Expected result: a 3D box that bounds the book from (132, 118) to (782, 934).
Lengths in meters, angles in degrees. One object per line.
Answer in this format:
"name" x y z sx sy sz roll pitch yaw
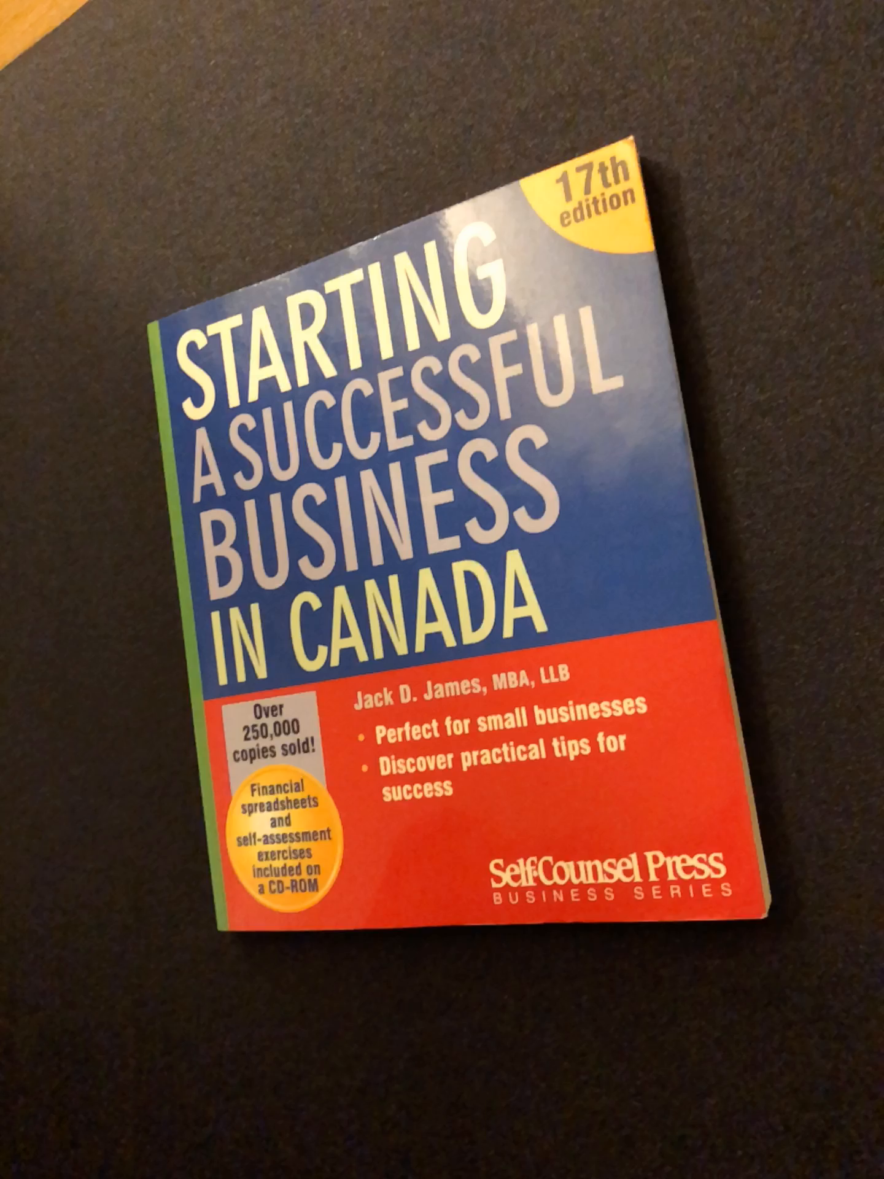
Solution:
"book" -0.009 -0.007 0.354 0.211 0.040 0.247 -10 83 27
